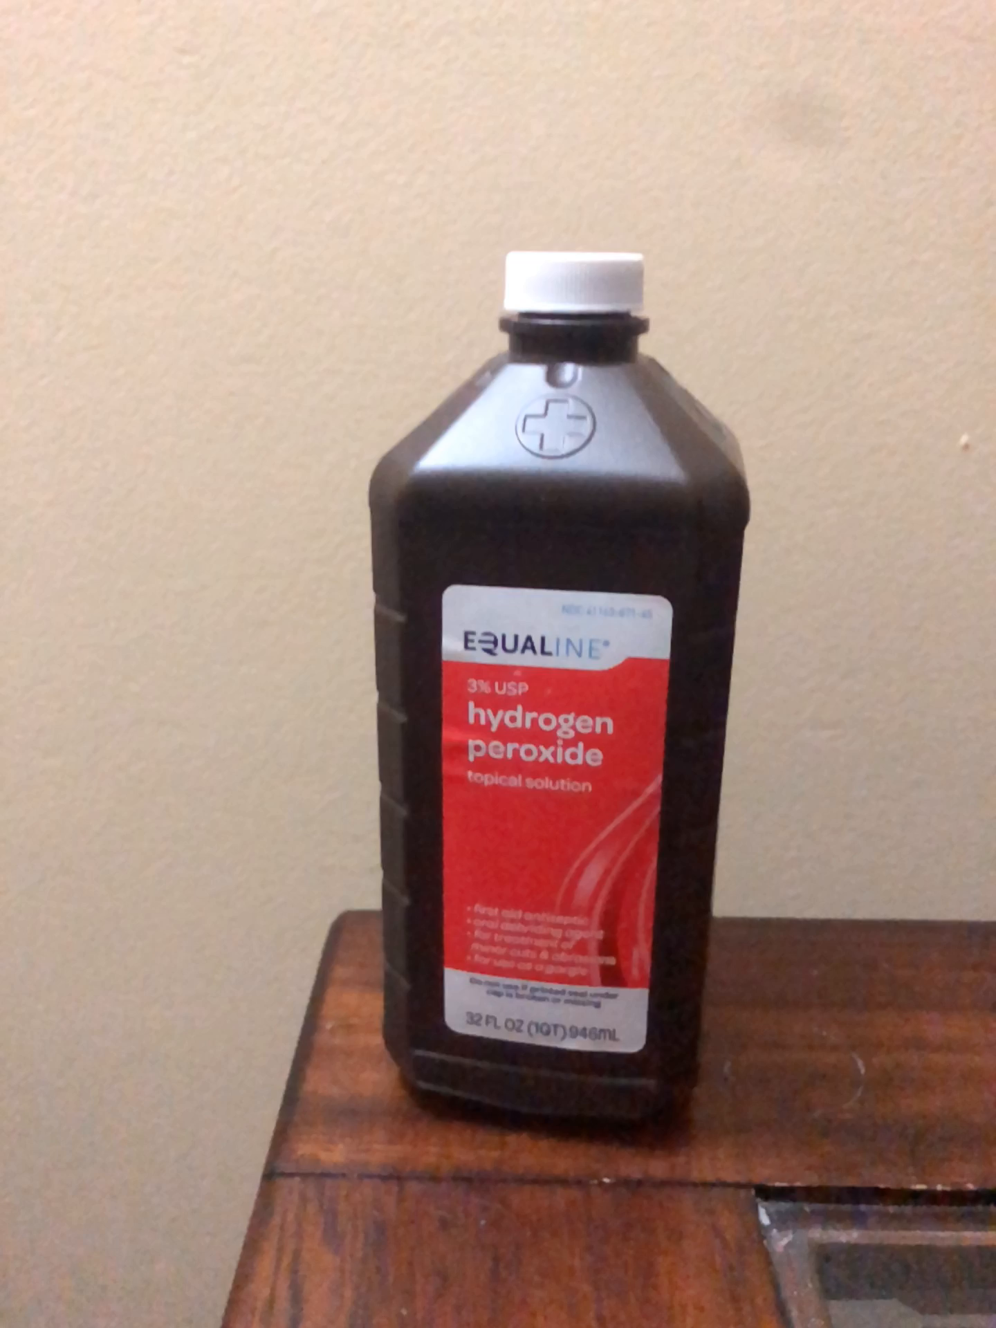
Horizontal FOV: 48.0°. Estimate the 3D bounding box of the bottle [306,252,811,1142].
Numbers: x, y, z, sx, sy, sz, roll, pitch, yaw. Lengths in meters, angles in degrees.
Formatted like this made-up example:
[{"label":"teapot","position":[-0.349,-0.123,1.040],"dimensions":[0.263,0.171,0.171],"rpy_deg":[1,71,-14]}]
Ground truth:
[{"label":"bottle","position":[0.015,0.003,0.267],"dimensions":[0.090,0.190,0.080],"rpy_deg":[3,20,8]}]
